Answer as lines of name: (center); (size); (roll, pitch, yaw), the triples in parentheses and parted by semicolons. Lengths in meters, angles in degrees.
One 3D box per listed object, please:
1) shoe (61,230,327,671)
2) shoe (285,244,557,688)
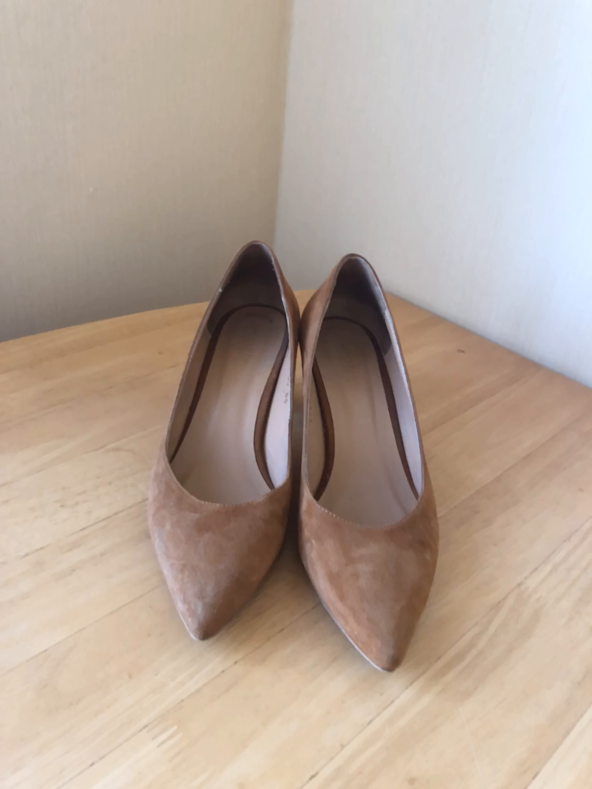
shoe: (-0.036, 0.006, 0.372); (0.089, 0.110, 0.251); (6, 32, 1)
shoe: (0.044, 0.015, 0.379); (0.089, 0.110, 0.261); (4, 32, -4)
